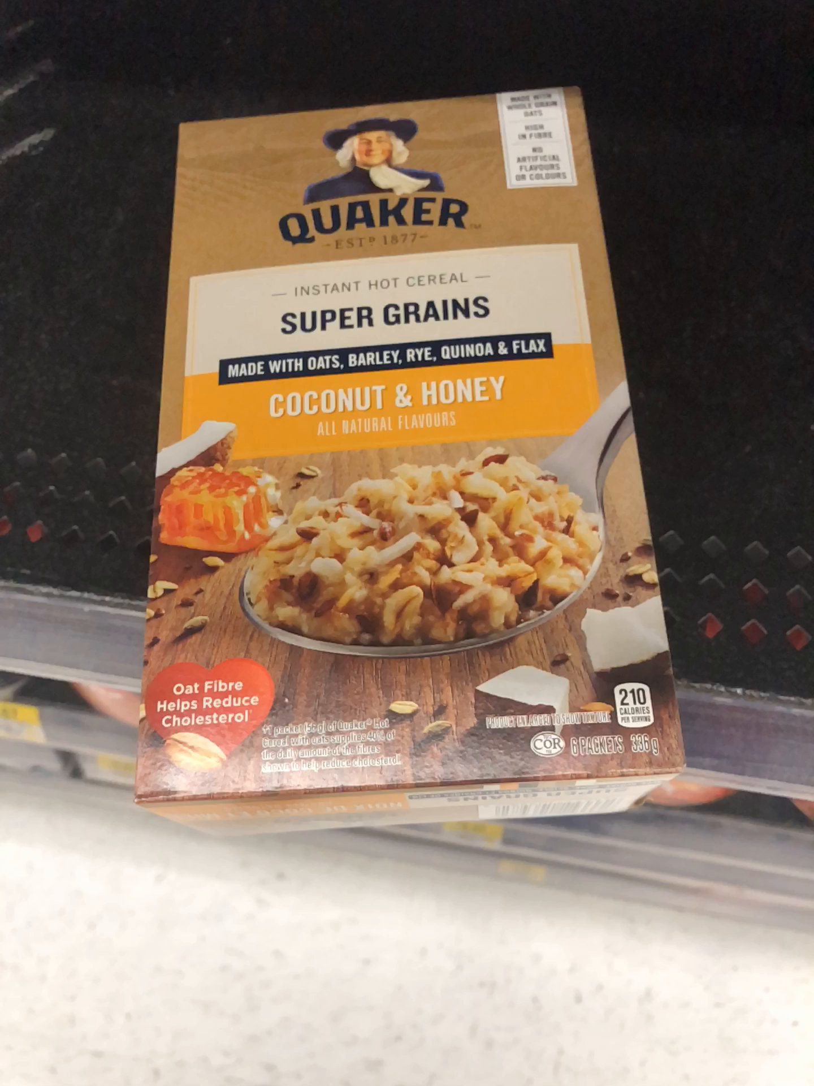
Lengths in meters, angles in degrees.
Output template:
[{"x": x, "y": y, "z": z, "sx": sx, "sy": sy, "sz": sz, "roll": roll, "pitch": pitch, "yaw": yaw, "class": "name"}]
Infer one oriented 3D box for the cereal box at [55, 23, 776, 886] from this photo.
[{"x": 0.000, "y": -0.032, "z": 0.253, "sx": 0.140, "sy": 0.060, "sz": 0.230, "roll": -3, "pitch": 65, "yaw": 4, "class": "cereal box"}]
